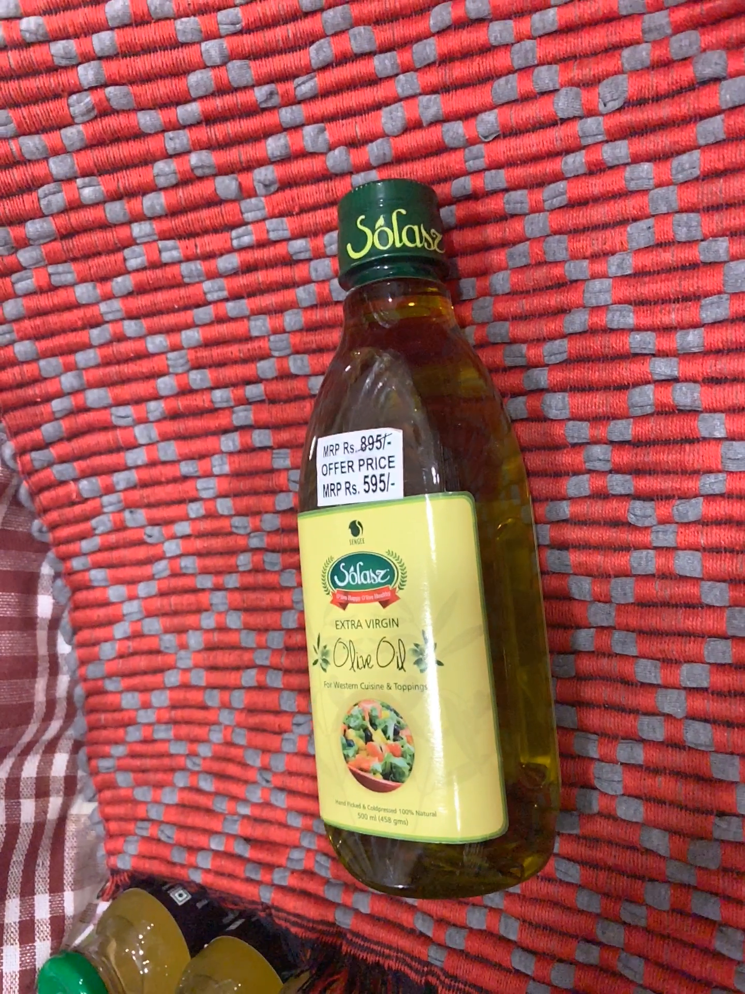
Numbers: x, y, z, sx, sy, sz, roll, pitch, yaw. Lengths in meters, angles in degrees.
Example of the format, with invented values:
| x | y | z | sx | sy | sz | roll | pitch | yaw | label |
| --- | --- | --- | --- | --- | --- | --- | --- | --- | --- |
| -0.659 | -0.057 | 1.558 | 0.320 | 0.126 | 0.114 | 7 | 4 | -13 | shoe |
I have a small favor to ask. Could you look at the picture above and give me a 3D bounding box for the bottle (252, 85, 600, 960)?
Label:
| x | y | z | sx | sy | sz | roll | pitch | yaw | label |
| --- | --- | --- | --- | --- | --- | --- | --- | --- | --- |
| 0.015 | 0.005 | 0.222 | 0.060 | 0.070 | 0.200 | -8 | 81 | 35 | bottle |
